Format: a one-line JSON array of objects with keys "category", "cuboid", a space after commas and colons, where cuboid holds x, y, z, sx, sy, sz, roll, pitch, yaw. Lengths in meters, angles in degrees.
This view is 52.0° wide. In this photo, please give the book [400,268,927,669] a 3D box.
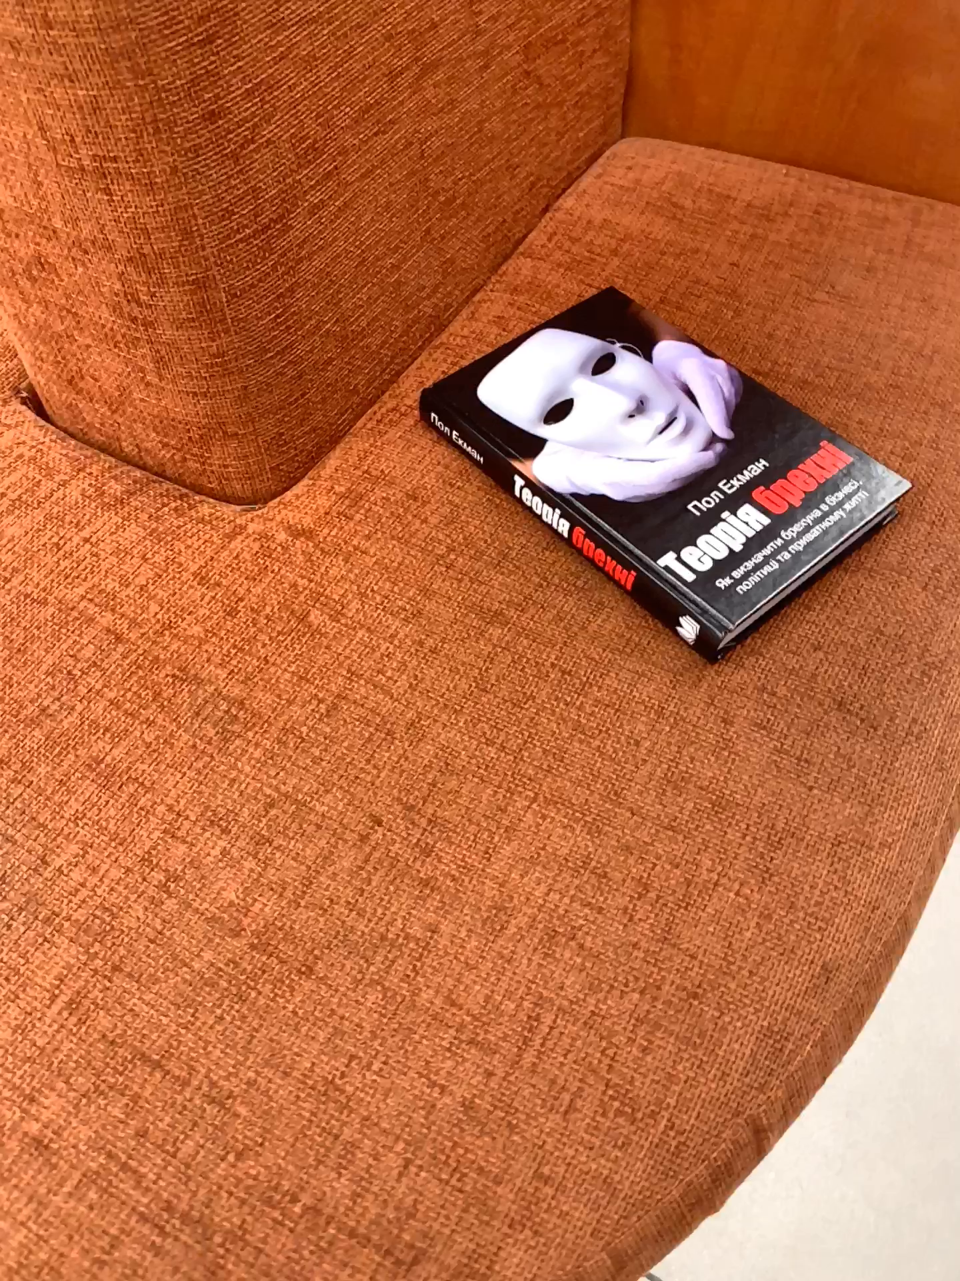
[{"category": "book", "cuboid": [0.085, -0.099, 0.495, 0.150, 0.030, 0.209, -36, 60, -21]}]
